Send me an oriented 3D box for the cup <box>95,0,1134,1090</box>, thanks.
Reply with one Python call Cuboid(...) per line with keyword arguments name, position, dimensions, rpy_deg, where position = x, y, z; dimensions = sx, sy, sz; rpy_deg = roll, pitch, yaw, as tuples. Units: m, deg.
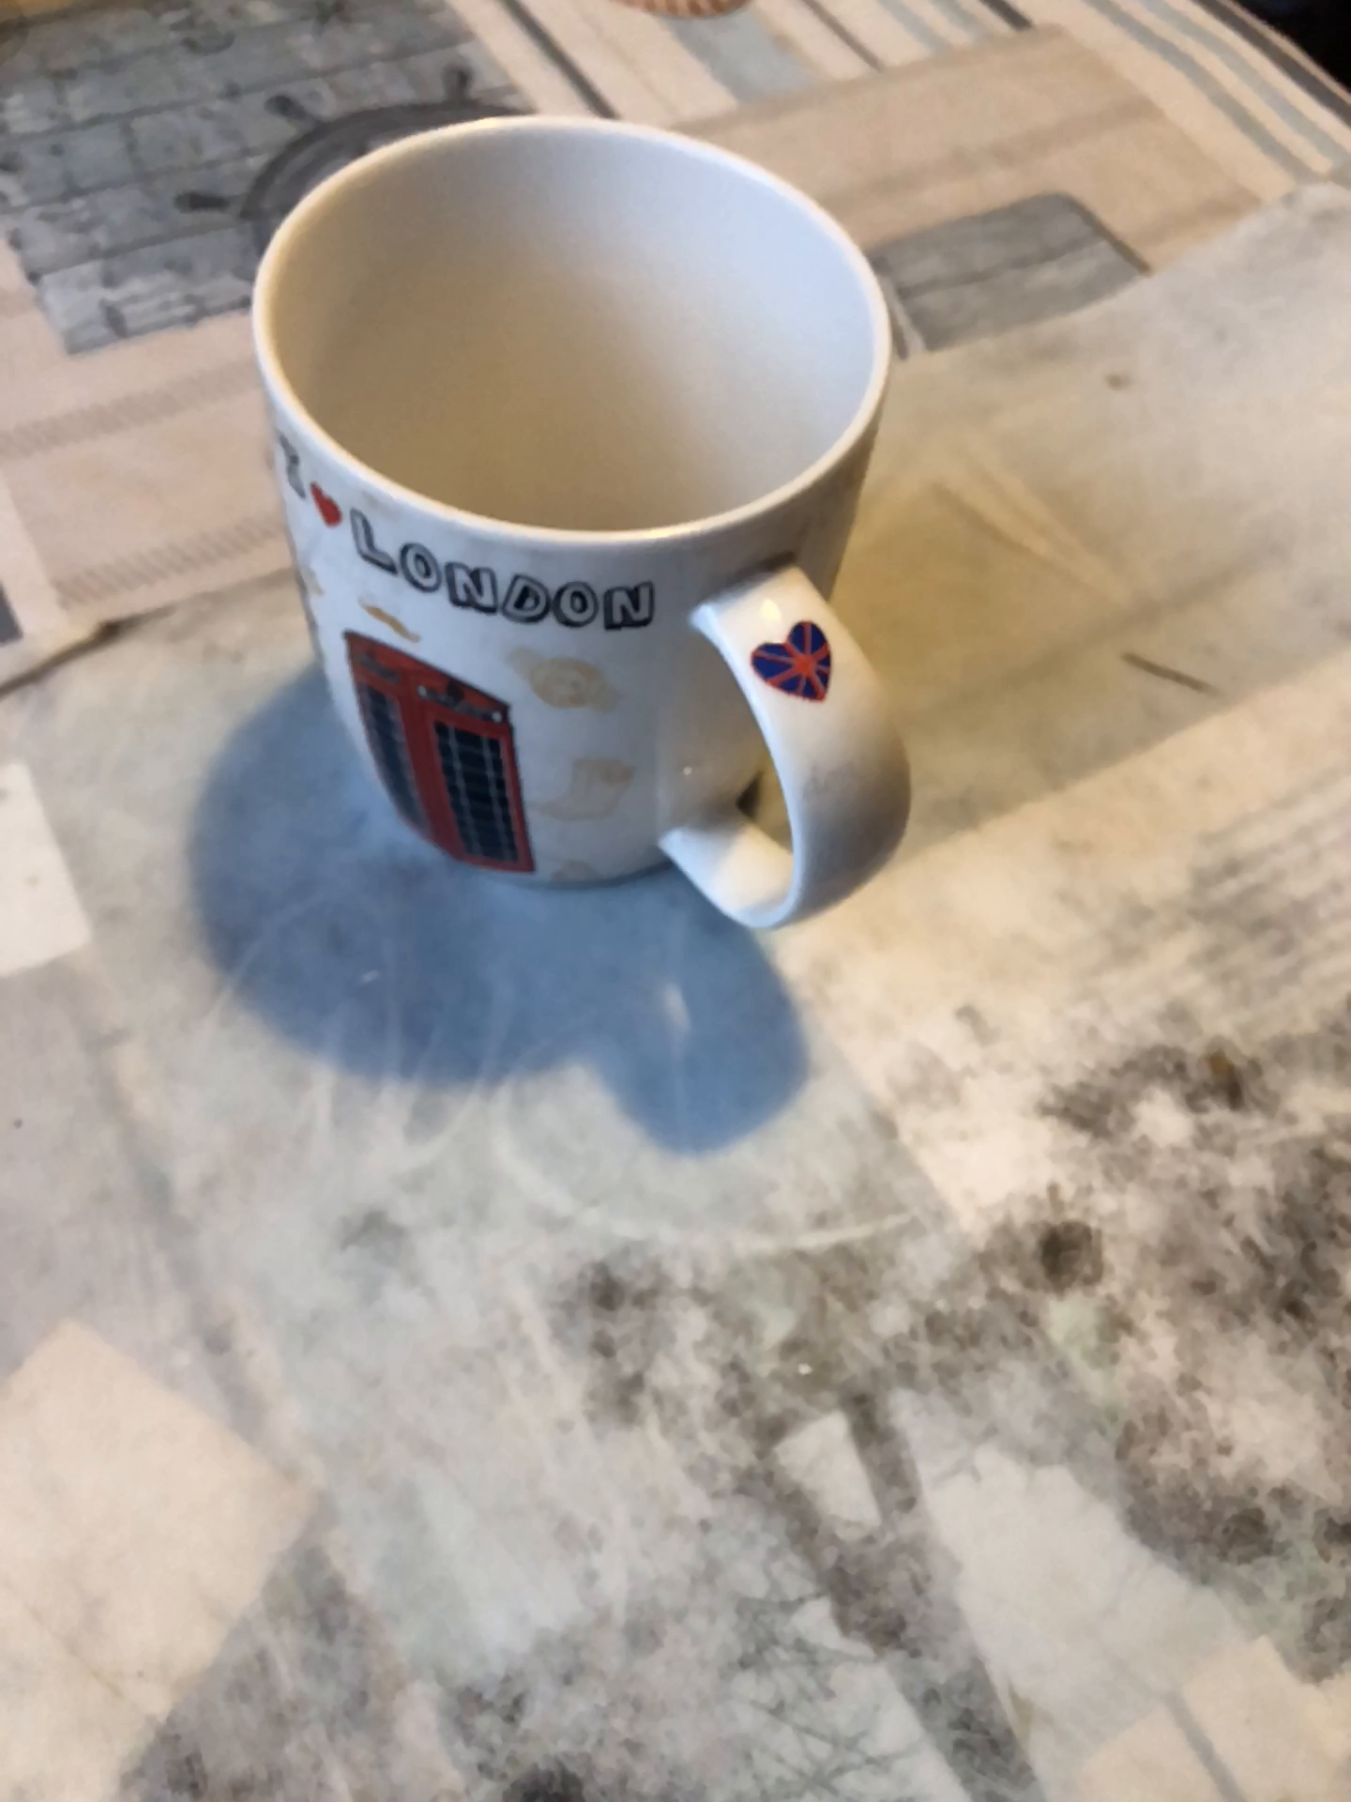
Cuboid(name="cup", position=(-0.013, -0.056, 0.238), dimensions=(0.084, 0.086, 0.121), rpy_deg=(-30, 66, -18))
